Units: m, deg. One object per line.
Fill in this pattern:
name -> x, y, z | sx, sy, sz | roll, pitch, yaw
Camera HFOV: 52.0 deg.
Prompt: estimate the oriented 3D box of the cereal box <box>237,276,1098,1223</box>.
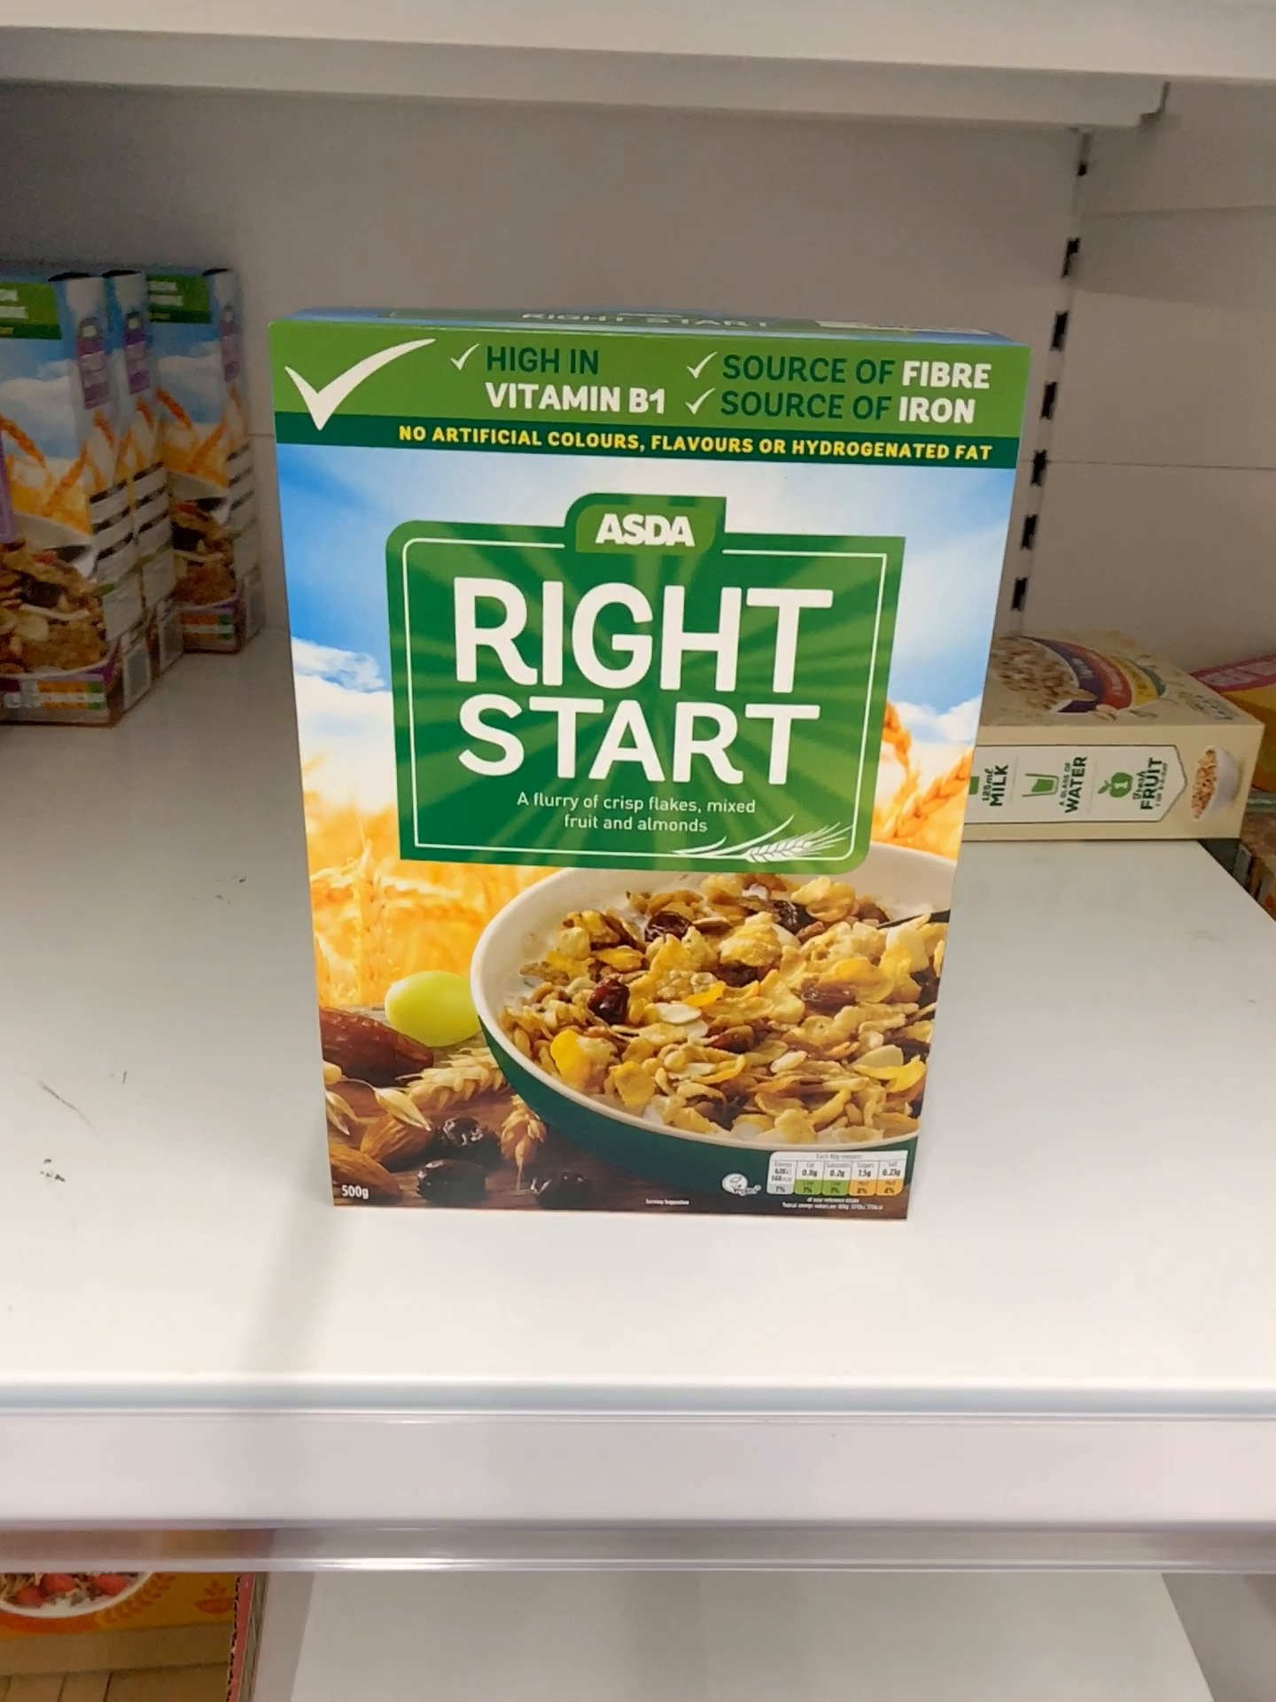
cereal box -> 0.003, -0.021, 0.392 | 0.200, 0.268, 0.071 | 2, 25, -1
